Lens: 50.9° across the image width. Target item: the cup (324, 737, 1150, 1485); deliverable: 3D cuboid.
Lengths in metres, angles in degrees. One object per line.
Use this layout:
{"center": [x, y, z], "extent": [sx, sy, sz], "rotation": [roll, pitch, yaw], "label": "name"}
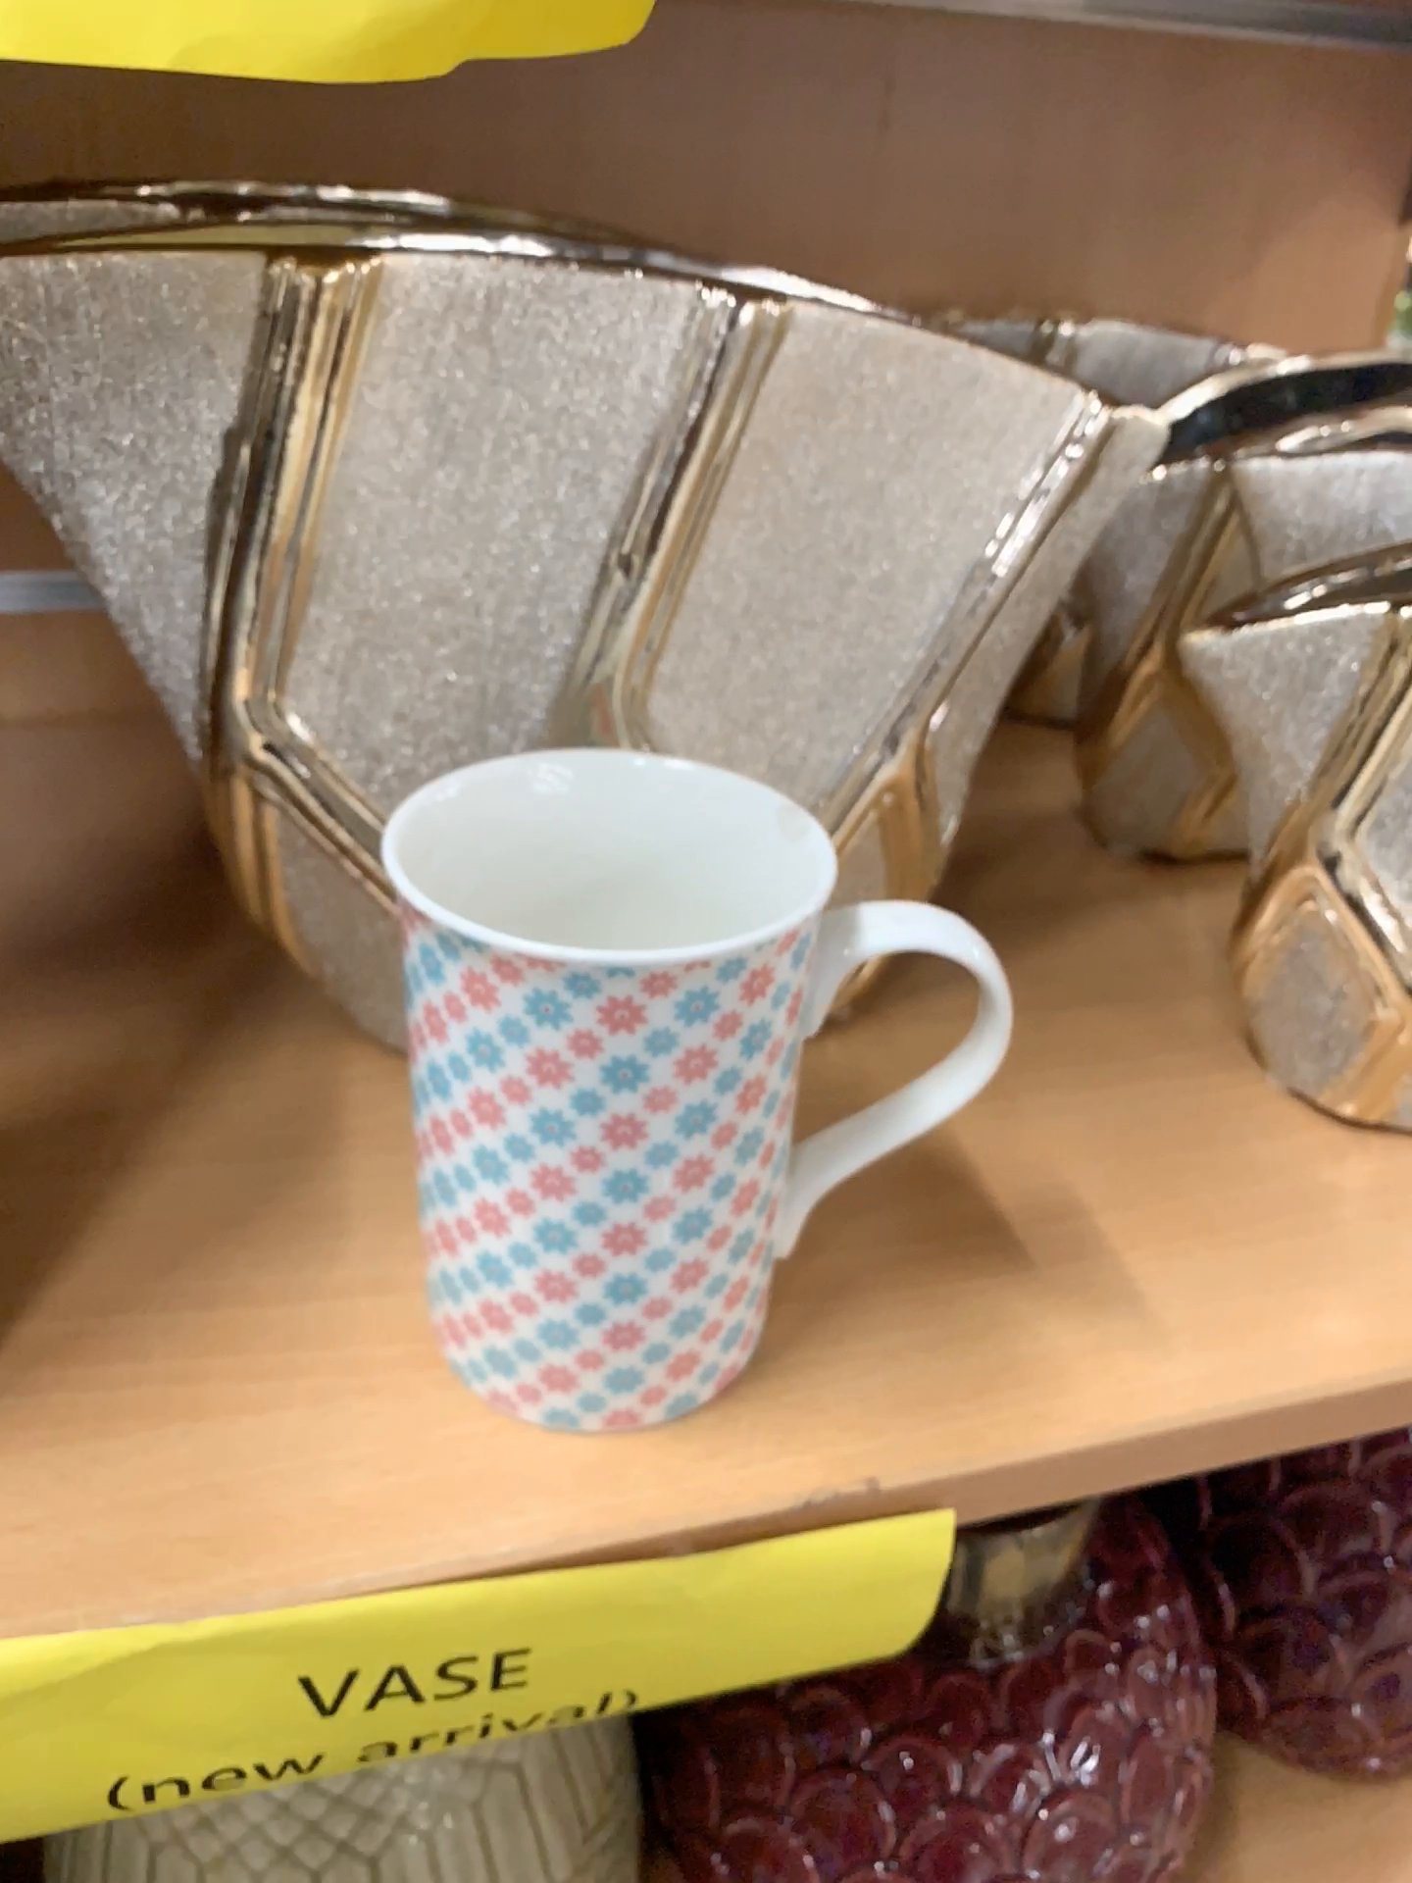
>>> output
{"center": [0.001, 0.030, 0.276], "extent": [0.120, 0.110, 0.080], "rotation": [1, 29, -4], "label": "cup"}
